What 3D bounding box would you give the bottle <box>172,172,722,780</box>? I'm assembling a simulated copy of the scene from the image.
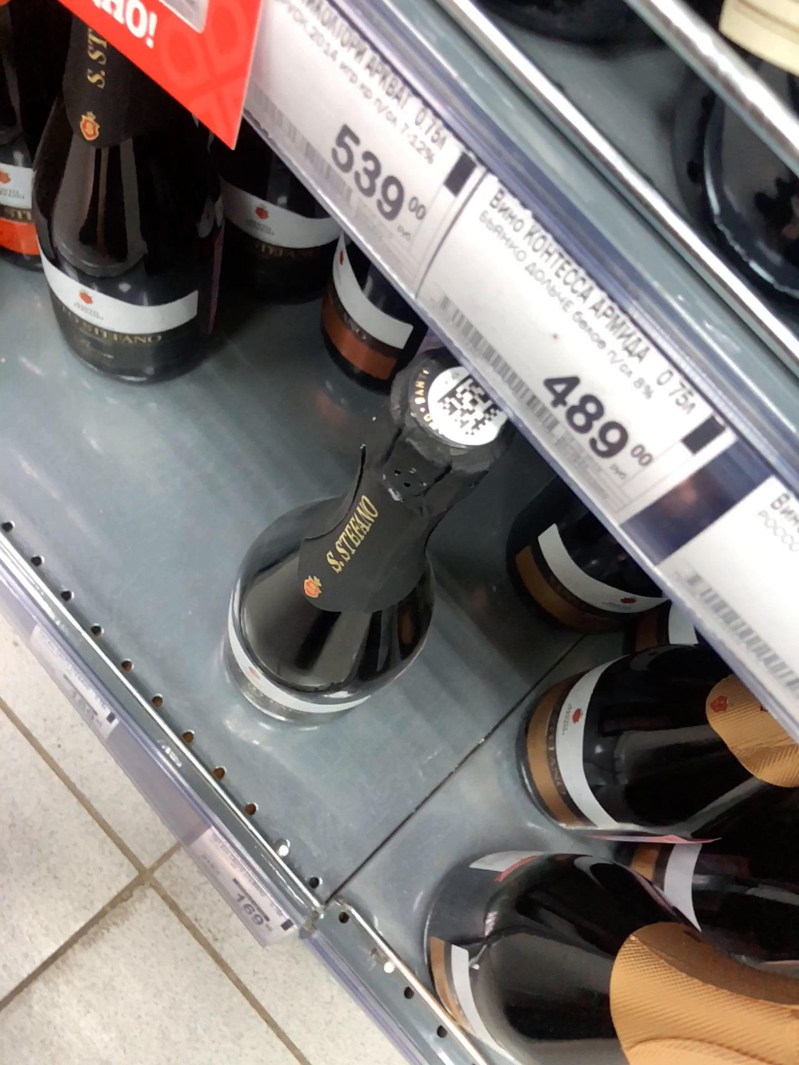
[{"bbox_3d":[-0.019,0.017,0.340,0.090,0.289,0.100,-42,85,-23],"label":"bottle"}]
